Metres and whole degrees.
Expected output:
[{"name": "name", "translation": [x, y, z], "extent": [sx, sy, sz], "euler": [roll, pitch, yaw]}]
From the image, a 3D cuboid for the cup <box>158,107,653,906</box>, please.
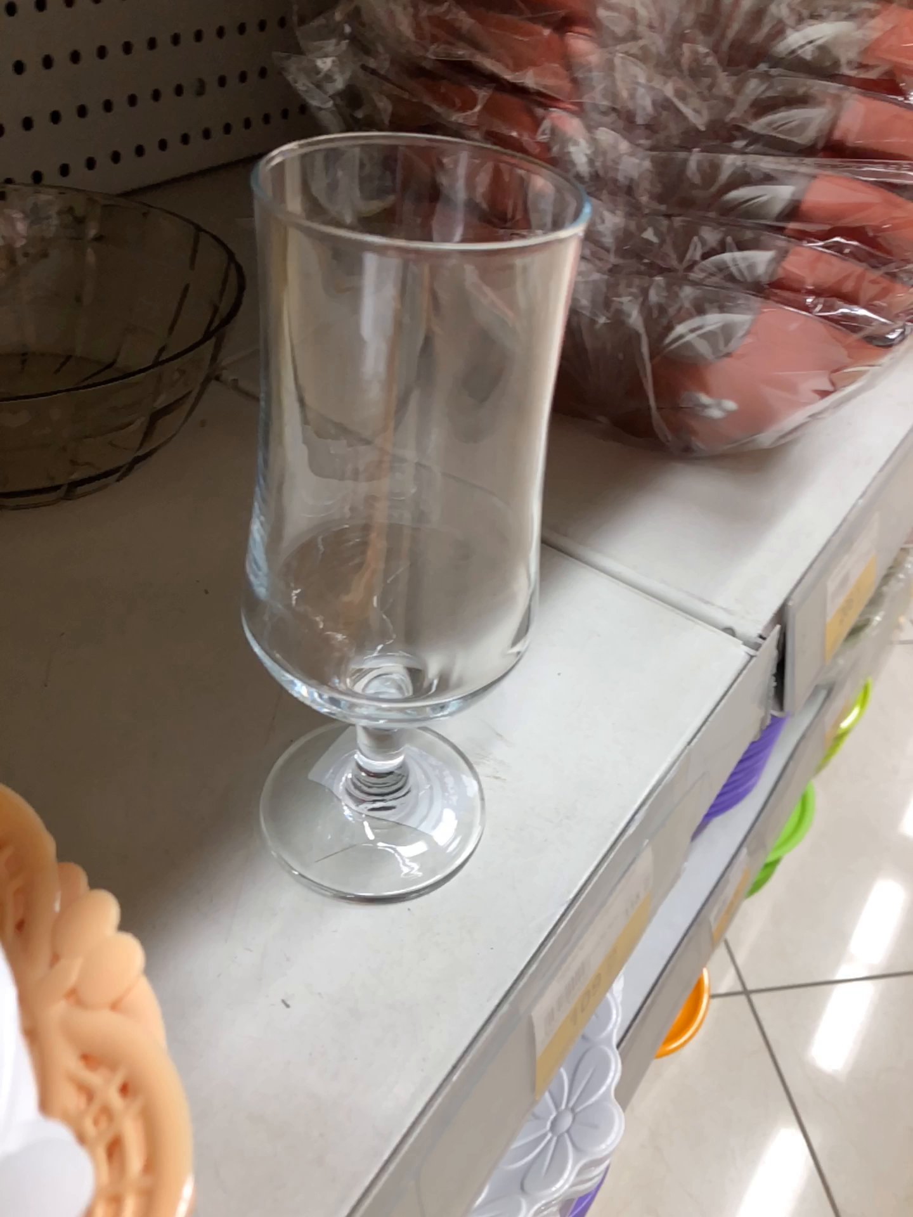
[{"name": "cup", "translation": [-0.017, -0.013, 0.248], "extent": [0.079, 0.177, 0.079], "euler": [4, 40, -4]}]
